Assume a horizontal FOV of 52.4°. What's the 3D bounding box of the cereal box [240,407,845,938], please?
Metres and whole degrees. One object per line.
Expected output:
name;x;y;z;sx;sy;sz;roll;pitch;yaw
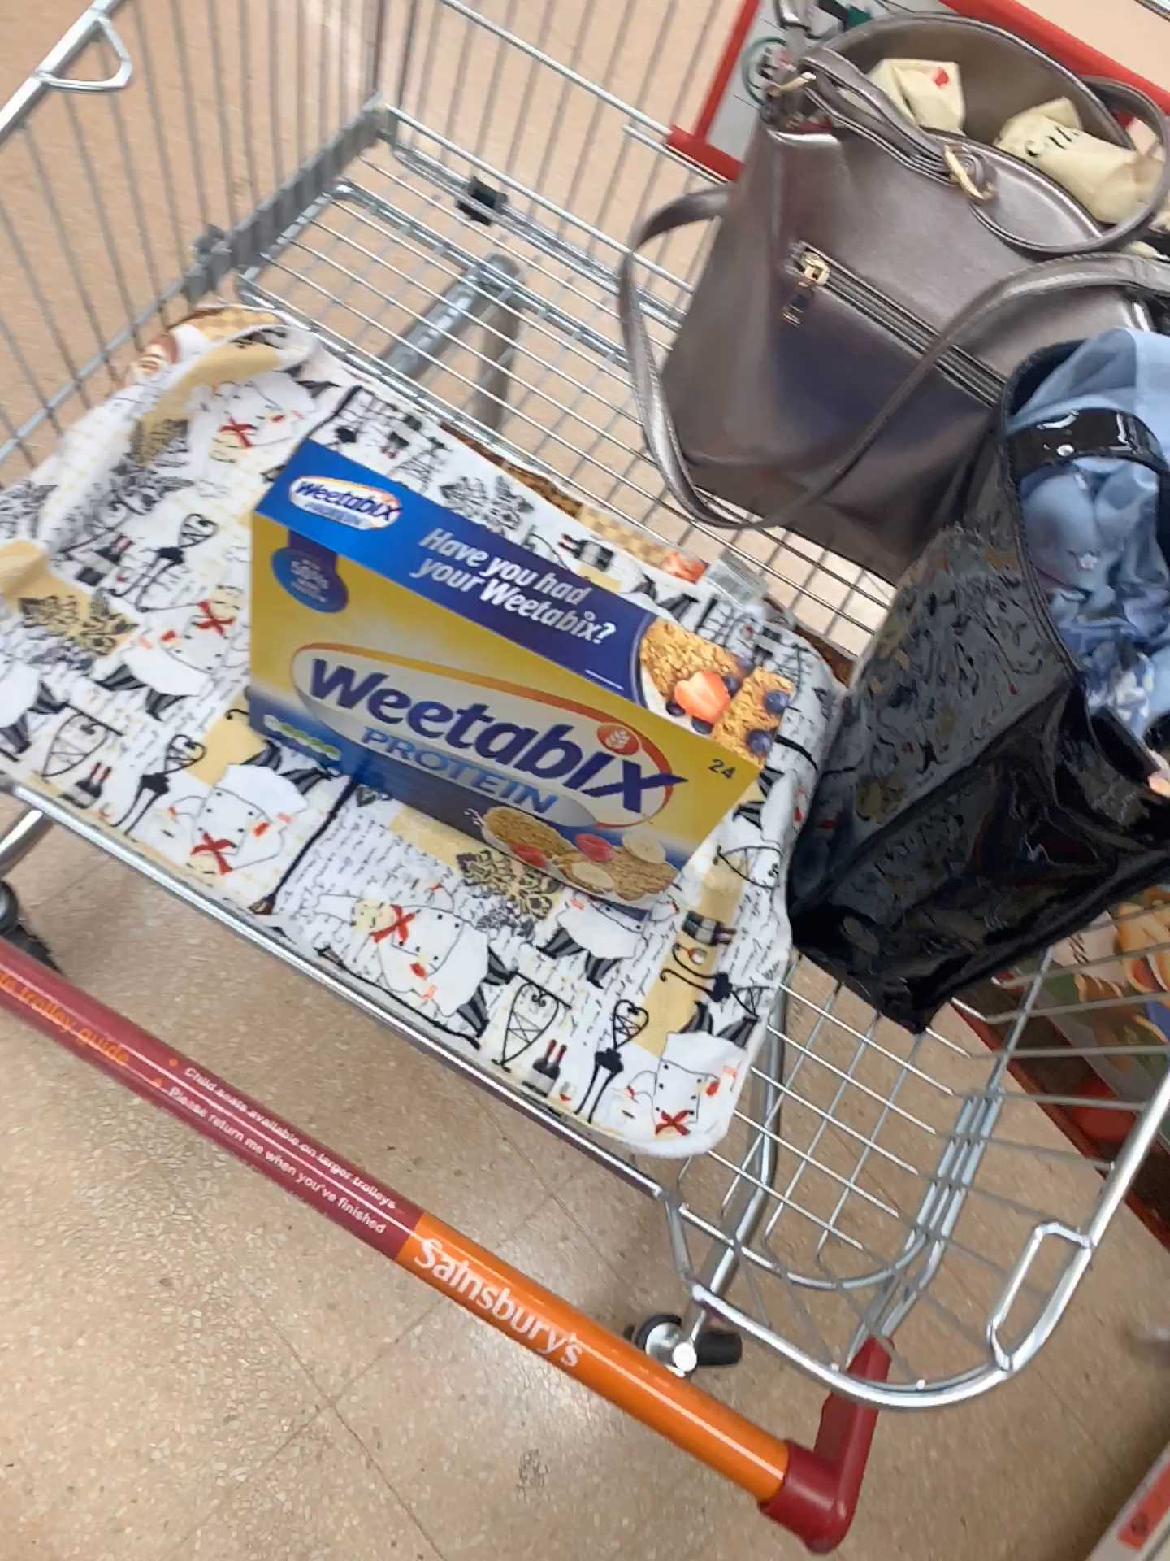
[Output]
cereal box;-0.037;-0.038;0.593;0.260;0.199;0.060;26;58;-2
